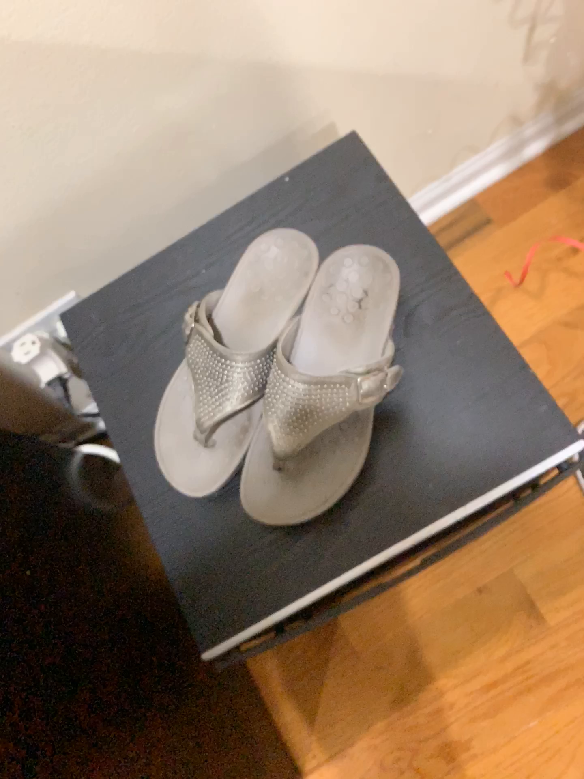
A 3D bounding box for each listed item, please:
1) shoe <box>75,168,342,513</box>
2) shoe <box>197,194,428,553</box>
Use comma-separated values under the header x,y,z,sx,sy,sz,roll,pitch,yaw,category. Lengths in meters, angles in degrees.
x,y,z,sx,sy,sz,roll,pitch,yaw,category
-0.058,-0.040,0.493,0.108,0.080,0.248,18,80,18,shoe
0.025,-0.013,0.466,0.108,0.080,0.248,11,78,16,shoe
